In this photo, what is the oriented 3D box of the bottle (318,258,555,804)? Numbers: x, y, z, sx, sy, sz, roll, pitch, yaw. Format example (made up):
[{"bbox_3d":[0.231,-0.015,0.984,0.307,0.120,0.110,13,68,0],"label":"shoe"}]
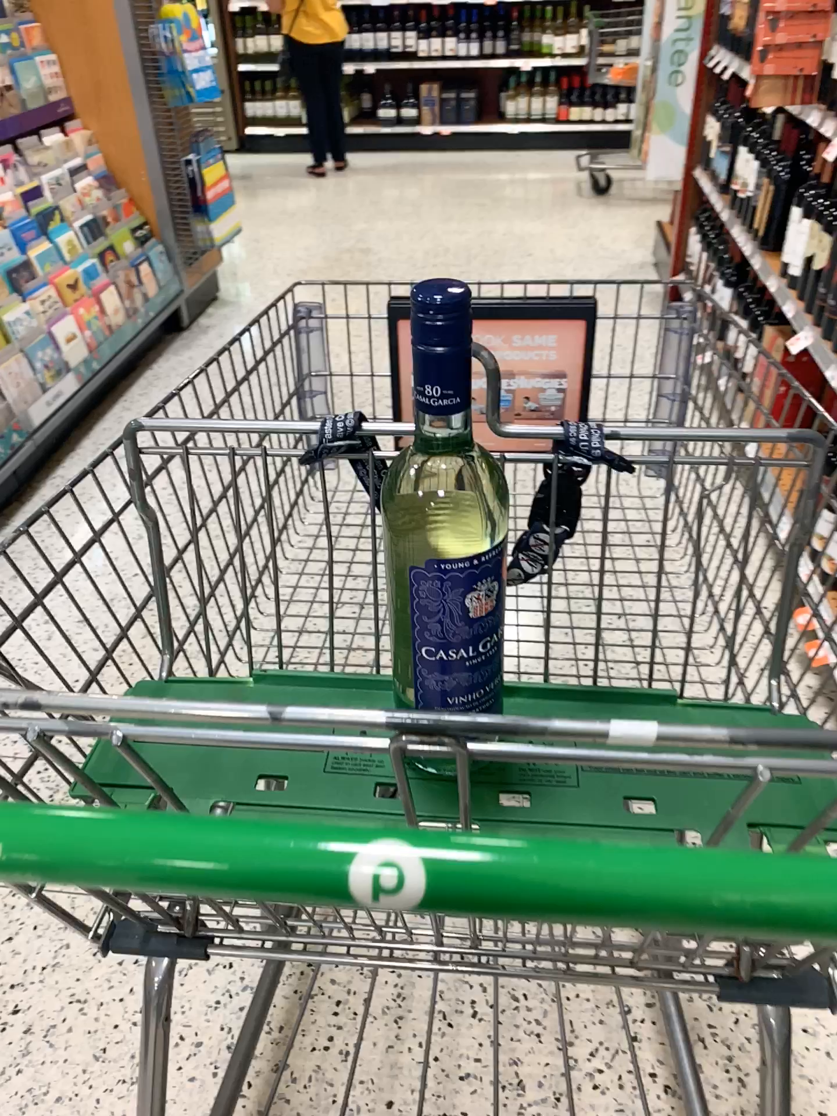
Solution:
[{"bbox_3d":[0.013,-0.004,0.493,0.080,0.297,0.080,-2,34,1],"label":"bottle"}]
